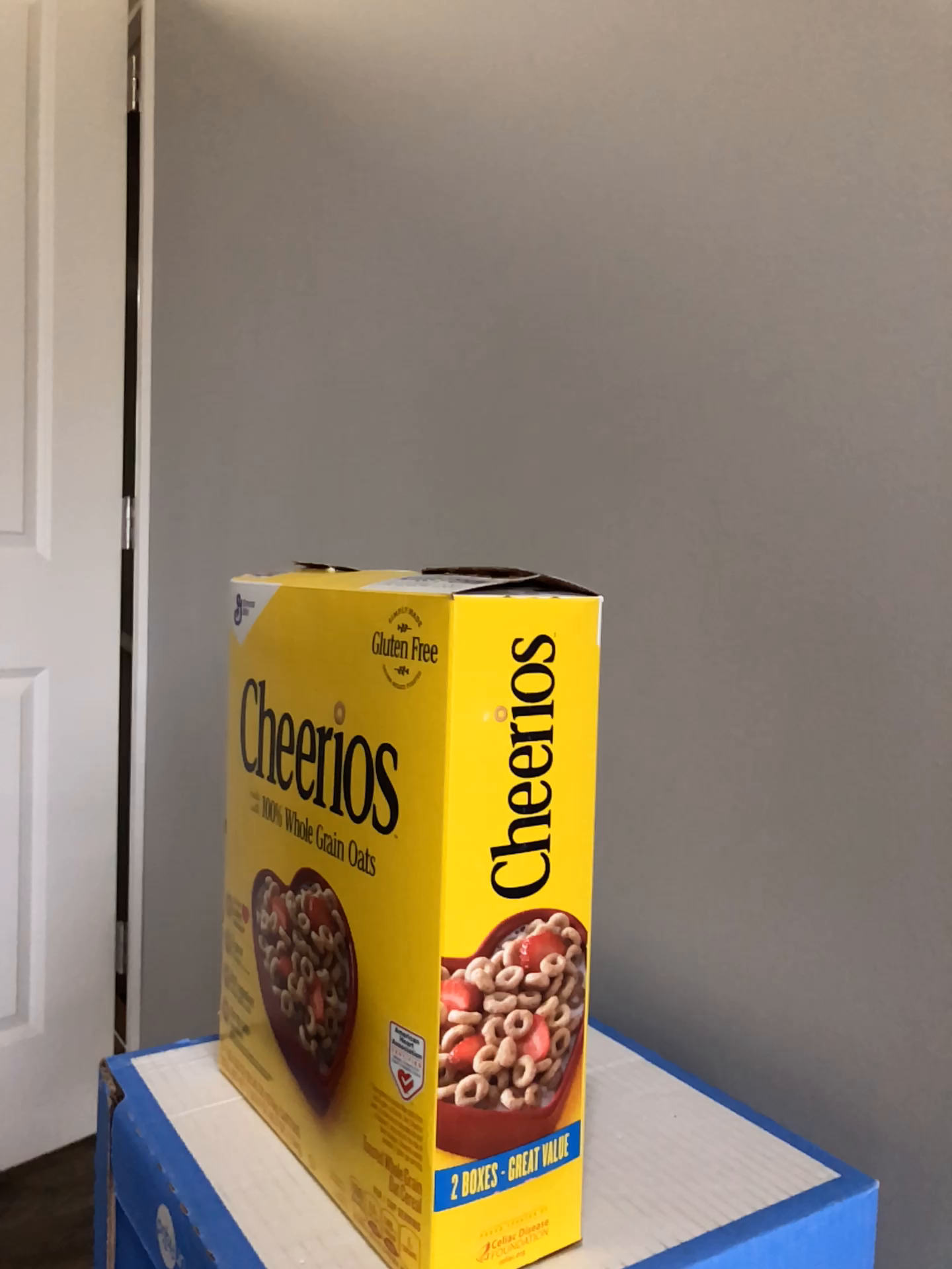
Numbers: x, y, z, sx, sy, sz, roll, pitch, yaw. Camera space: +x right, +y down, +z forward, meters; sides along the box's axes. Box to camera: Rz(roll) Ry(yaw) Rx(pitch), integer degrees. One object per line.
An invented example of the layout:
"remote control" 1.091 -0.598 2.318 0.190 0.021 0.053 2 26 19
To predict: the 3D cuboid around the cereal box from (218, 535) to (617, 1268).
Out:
"cereal box" -0.046 0.110 0.538 0.090 0.310 0.240 1 3 -32
